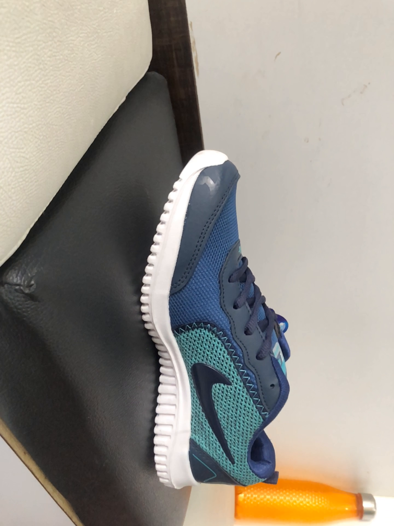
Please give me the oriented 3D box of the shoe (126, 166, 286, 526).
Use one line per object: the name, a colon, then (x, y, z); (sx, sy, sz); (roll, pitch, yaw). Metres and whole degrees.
shoe: (0.022, 0.056, 0.362); (0.130, 0.100, 0.260); (-51, 140, -73)
